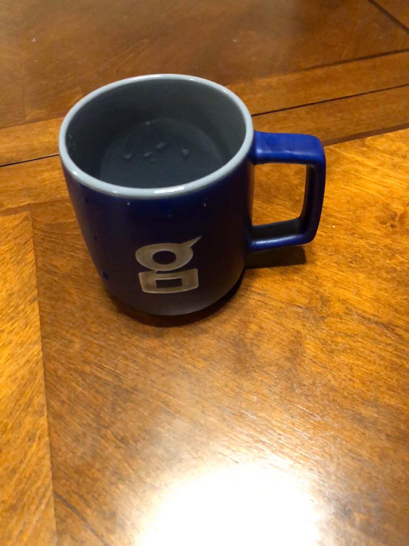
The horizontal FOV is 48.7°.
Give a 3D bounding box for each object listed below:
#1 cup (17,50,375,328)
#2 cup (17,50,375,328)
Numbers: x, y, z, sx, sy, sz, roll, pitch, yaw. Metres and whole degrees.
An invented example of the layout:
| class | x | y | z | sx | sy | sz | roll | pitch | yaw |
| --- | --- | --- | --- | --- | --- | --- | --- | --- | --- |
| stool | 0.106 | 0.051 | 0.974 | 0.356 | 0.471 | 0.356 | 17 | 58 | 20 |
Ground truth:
| class | x | y | z | sx | sy | sz | roll | pitch | yaw |
| --- | --- | --- | --- | --- | --- | --- | --- | --- | --- |
| cup | -0.005 | -0.044 | 0.247 | 0.140 | 0.099 | 0.101 | -4 | 53 | -1 |
| cup | -0.005 | -0.044 | 0.247 | 0.140 | 0.099 | 0.101 | -4 | 53 | -1 |
